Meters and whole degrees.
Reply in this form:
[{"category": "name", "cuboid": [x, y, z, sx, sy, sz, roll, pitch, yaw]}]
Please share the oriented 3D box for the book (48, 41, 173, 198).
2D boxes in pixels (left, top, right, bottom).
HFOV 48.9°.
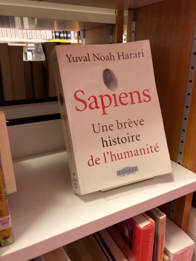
[{"category": "book", "cuboid": [0.022, -0.029, 0.383, 0.178, 0.244, 0.052, -8, -3, -20]}]
